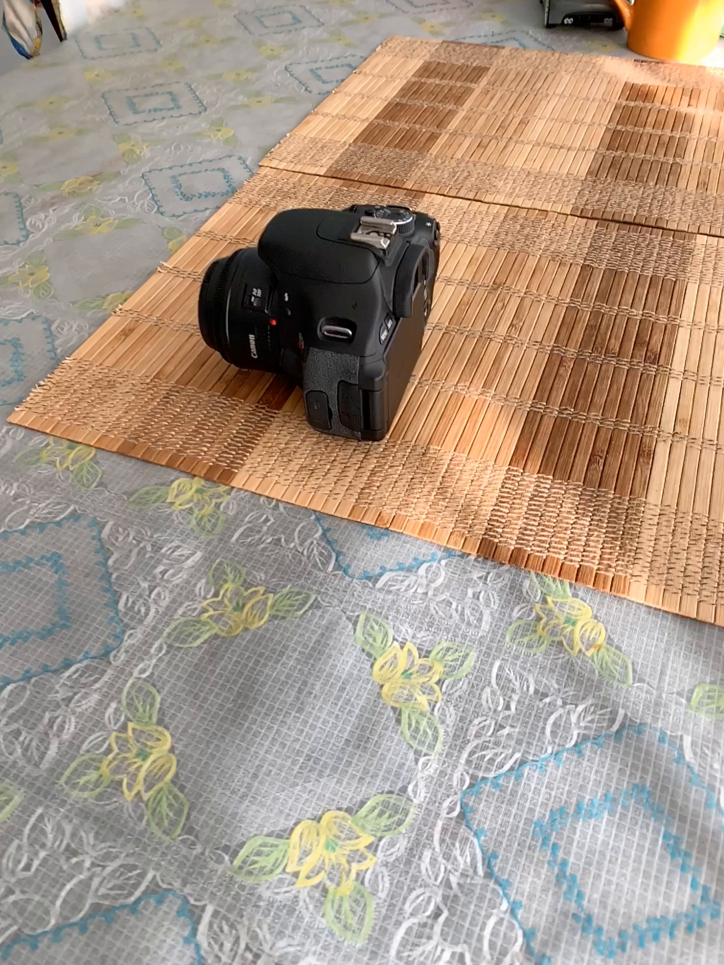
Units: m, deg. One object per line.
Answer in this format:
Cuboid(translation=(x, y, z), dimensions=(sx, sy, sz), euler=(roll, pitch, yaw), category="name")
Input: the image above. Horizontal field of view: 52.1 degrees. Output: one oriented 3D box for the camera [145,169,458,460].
Cuboid(translation=(-0.025, -0.092, 0.398), dimensions=(0.125, 0.092, 0.100), euler=(13, 50, 14), category="camera")
